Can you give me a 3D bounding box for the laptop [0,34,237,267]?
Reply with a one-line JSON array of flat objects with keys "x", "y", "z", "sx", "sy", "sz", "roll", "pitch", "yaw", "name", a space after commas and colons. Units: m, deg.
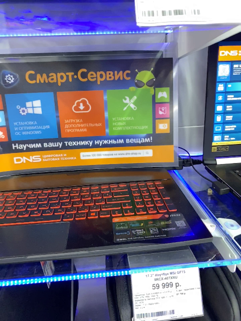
[{"x": -0.099, "y": -0.050, "z": 0.398, "sx": 0.404, "sy": 0.237, "sz": 0.288, "roll": -3, "pitch": 20, "yaw": -5, "name": "laptop"}]
